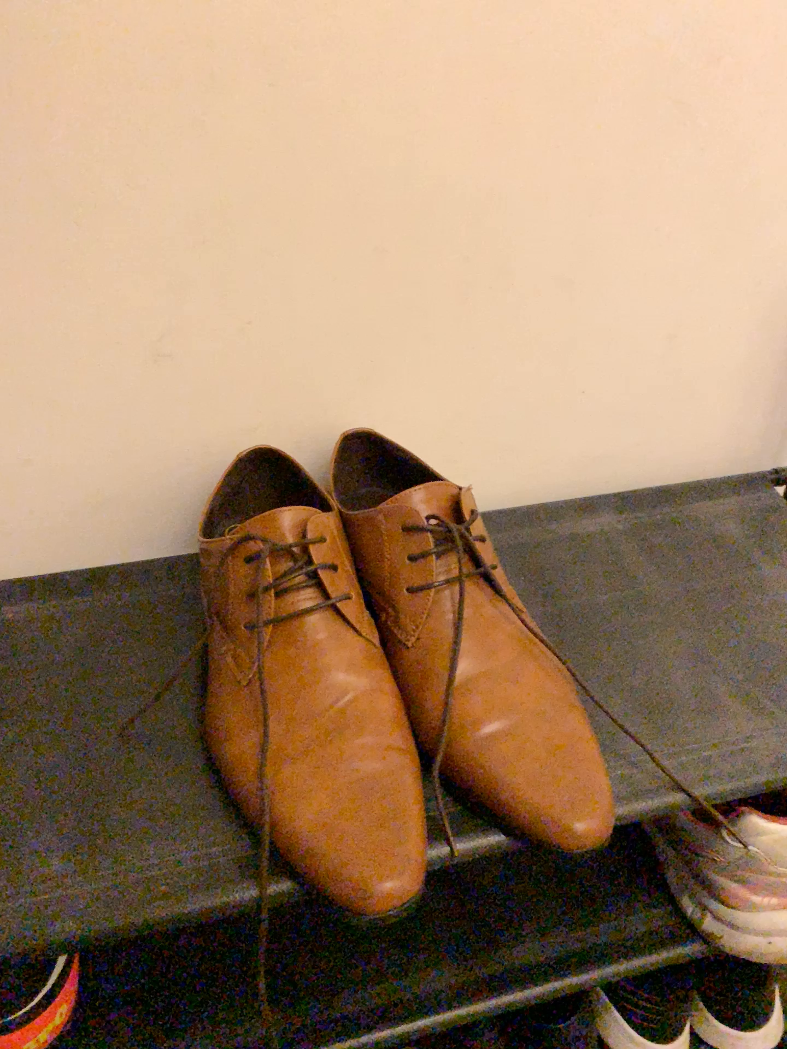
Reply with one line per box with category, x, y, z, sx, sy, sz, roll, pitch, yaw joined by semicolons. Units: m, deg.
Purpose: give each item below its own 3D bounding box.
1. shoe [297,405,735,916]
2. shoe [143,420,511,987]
shoe;0.038;0.044;0.454;0.100;0.099;0.292;-12;35;-18
shoe;-0.053;0.057;0.408;0.110;0.099;0.272;-10;34;-15
